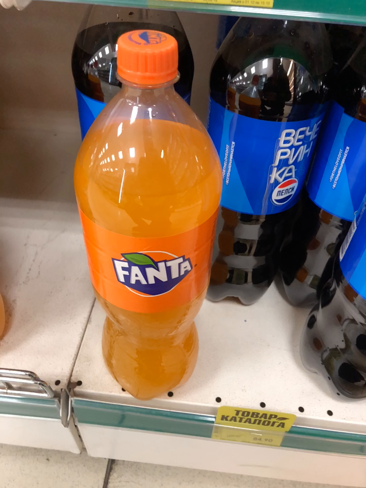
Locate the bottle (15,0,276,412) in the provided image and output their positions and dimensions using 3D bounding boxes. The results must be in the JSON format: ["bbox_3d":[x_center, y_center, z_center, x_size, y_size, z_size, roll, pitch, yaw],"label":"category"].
[{"bbox_3d":[-0.019,0.011,0.297,0.100,0.308,0.090,3,45,0],"label":"bottle"}]
